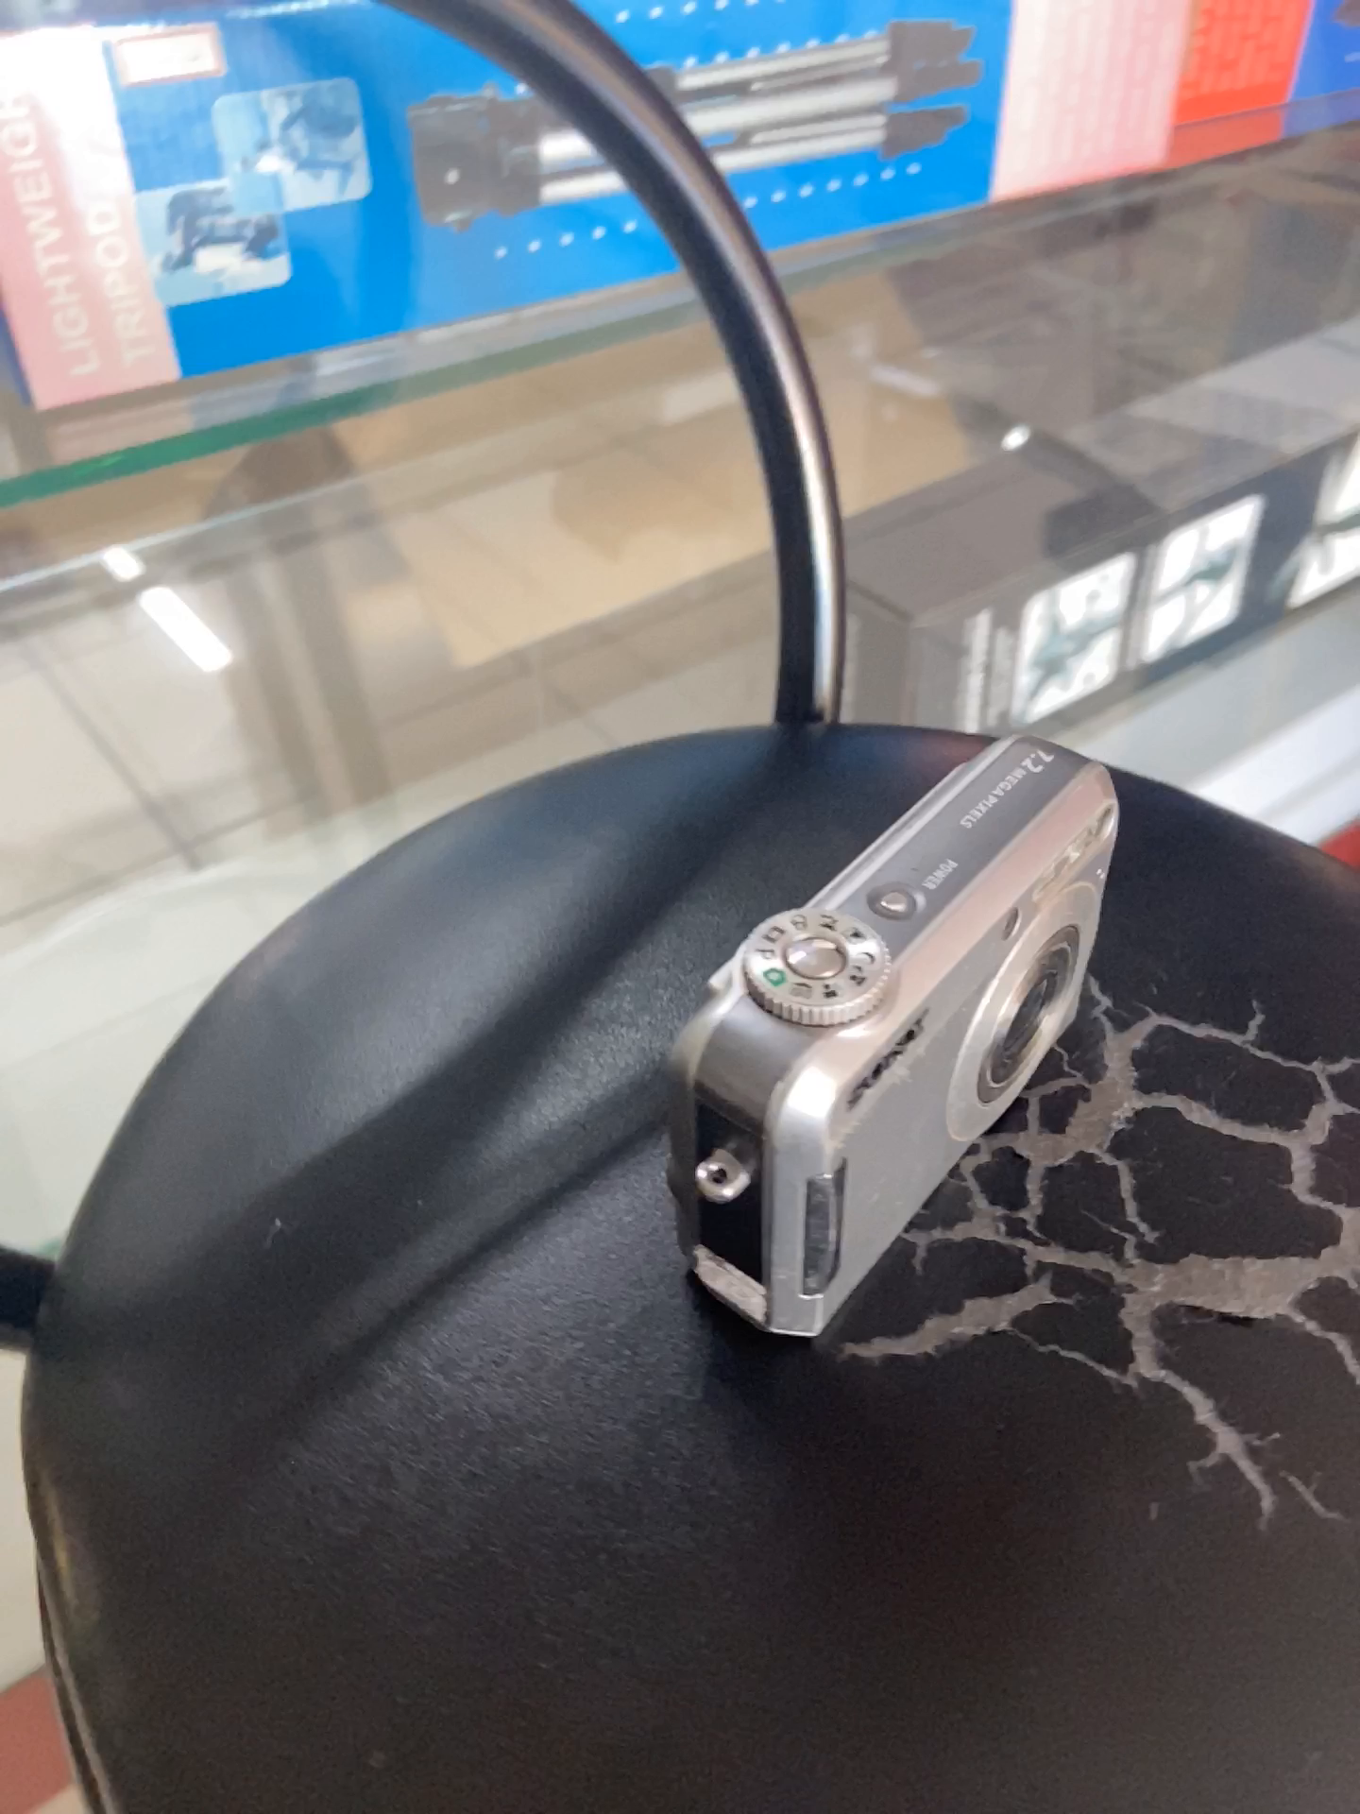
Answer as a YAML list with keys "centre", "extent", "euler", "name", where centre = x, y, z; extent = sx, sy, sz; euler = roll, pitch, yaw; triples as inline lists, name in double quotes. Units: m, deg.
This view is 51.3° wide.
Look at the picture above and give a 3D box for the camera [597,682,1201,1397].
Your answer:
- centre: [0.036, 0.015, 0.220]
  extent: [0.040, 0.050, 0.100]
  euler: [26, 49, 28]
  name: "camera"
